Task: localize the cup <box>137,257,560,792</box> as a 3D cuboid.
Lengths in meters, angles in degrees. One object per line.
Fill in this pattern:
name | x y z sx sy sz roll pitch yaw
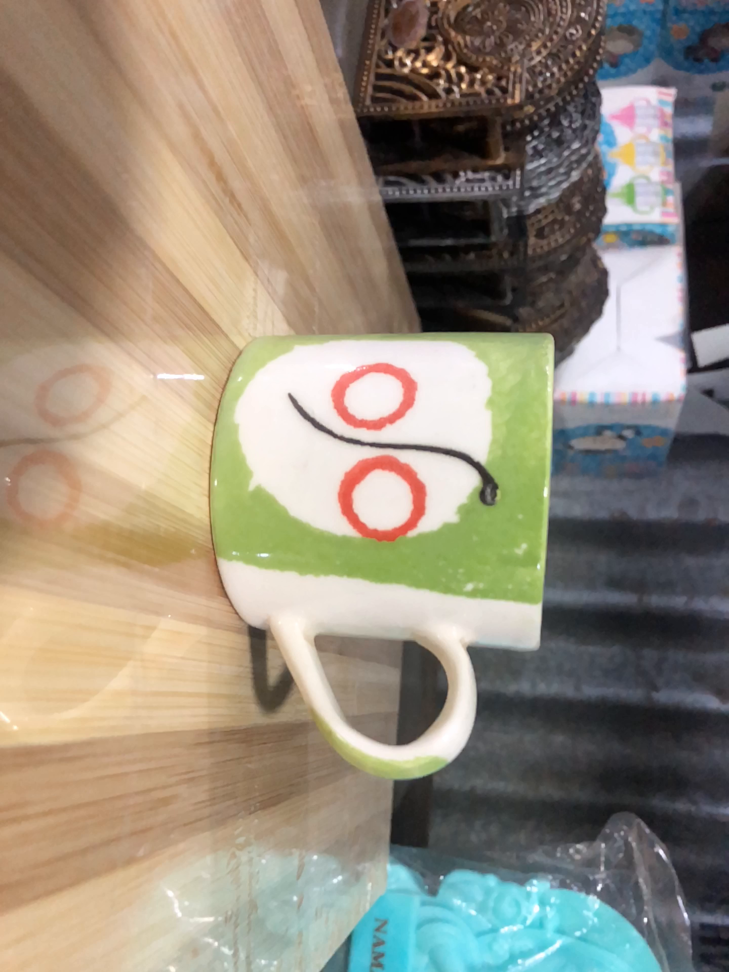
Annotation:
cup | 0.006 0.012 0.186 0.070 0.070 0.100 67 28 -66
